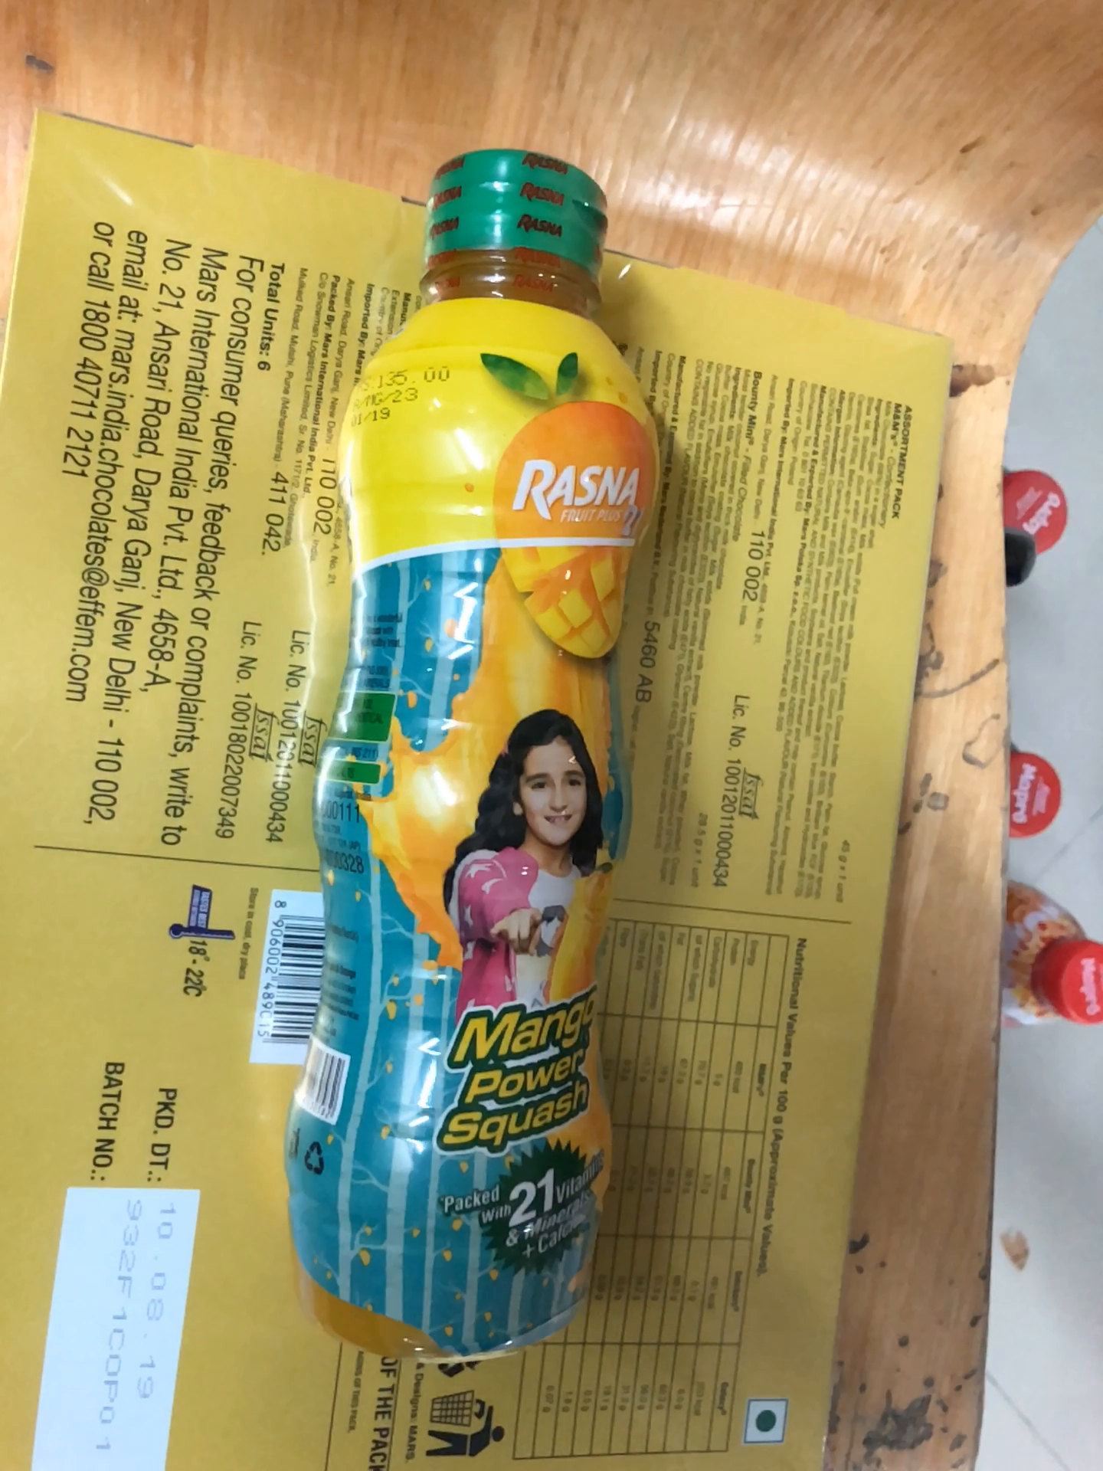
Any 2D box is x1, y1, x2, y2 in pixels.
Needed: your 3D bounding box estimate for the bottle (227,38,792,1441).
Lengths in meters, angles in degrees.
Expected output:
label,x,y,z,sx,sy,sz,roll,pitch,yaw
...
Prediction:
label,x,y,z,sx,sy,sz,roll,pitch,yaw
bottle,-0.008,0.003,0.270,0.080,0.050,0.260,7,90,-36
